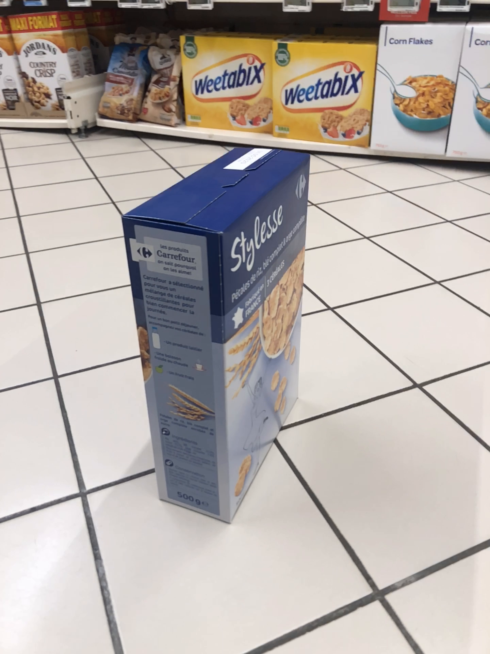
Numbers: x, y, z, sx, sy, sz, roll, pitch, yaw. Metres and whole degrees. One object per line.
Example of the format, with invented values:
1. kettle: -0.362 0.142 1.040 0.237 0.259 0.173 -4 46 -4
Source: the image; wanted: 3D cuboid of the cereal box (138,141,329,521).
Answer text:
1. cereal box: 0.002 -0.004 0.505 0.080 0.278 0.211 12 34 17
